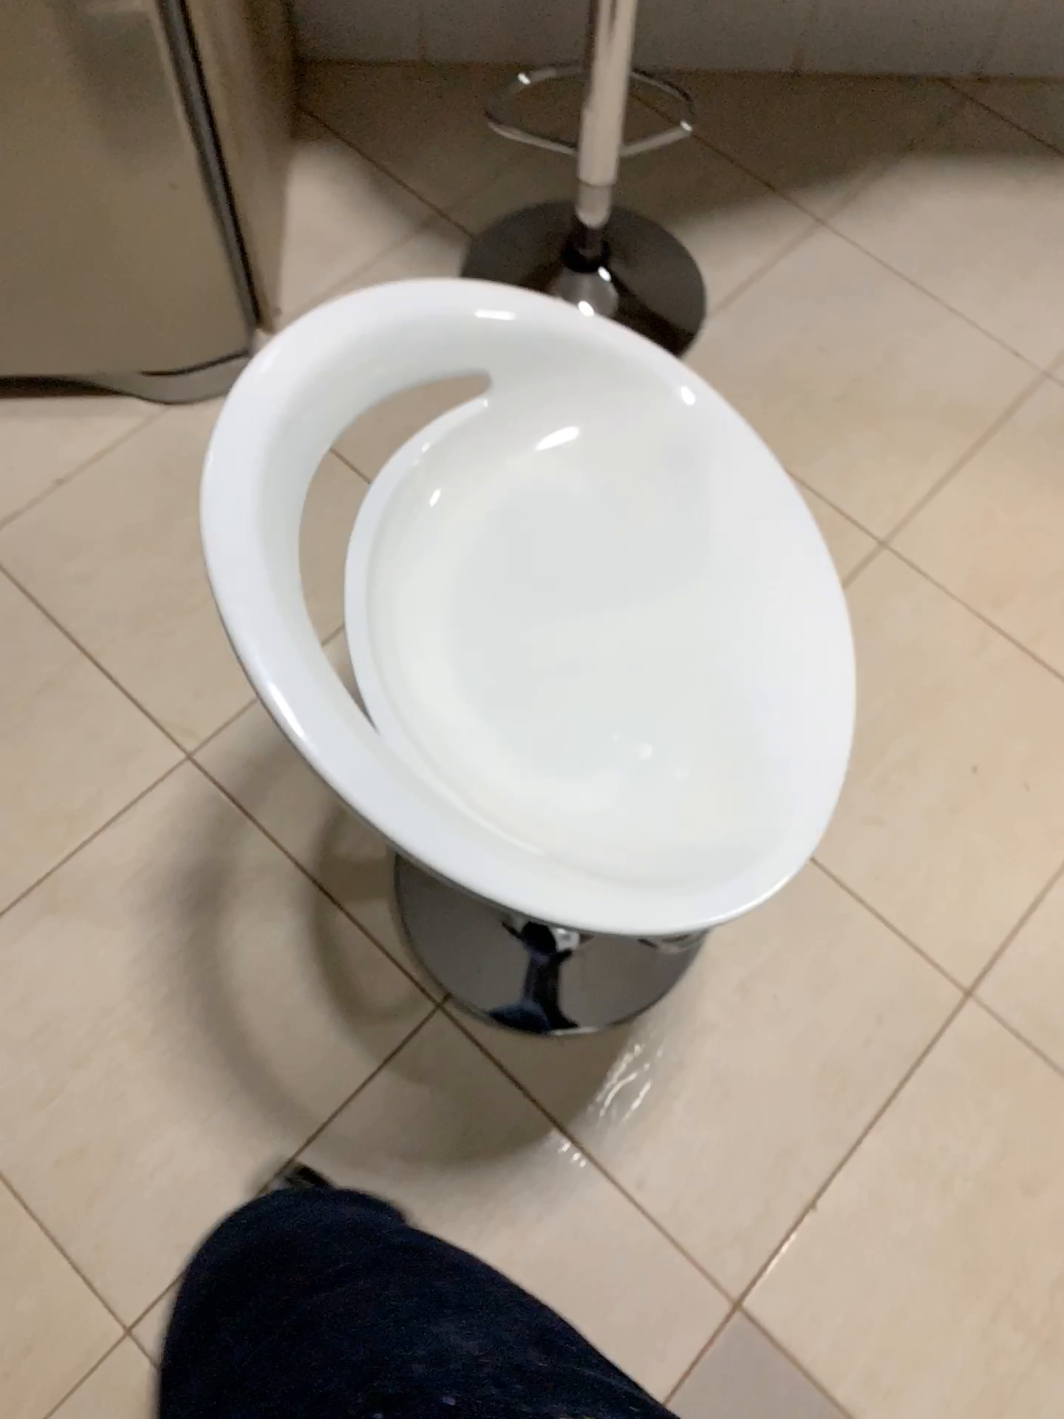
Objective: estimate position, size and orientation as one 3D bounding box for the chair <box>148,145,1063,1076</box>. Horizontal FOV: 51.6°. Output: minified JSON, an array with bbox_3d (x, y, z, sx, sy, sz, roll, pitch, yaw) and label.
[{"bbox_3d":[0.036,0.021,0.926,0.450,0.736,0.472,1,66,-3],"label":"chair"}]
